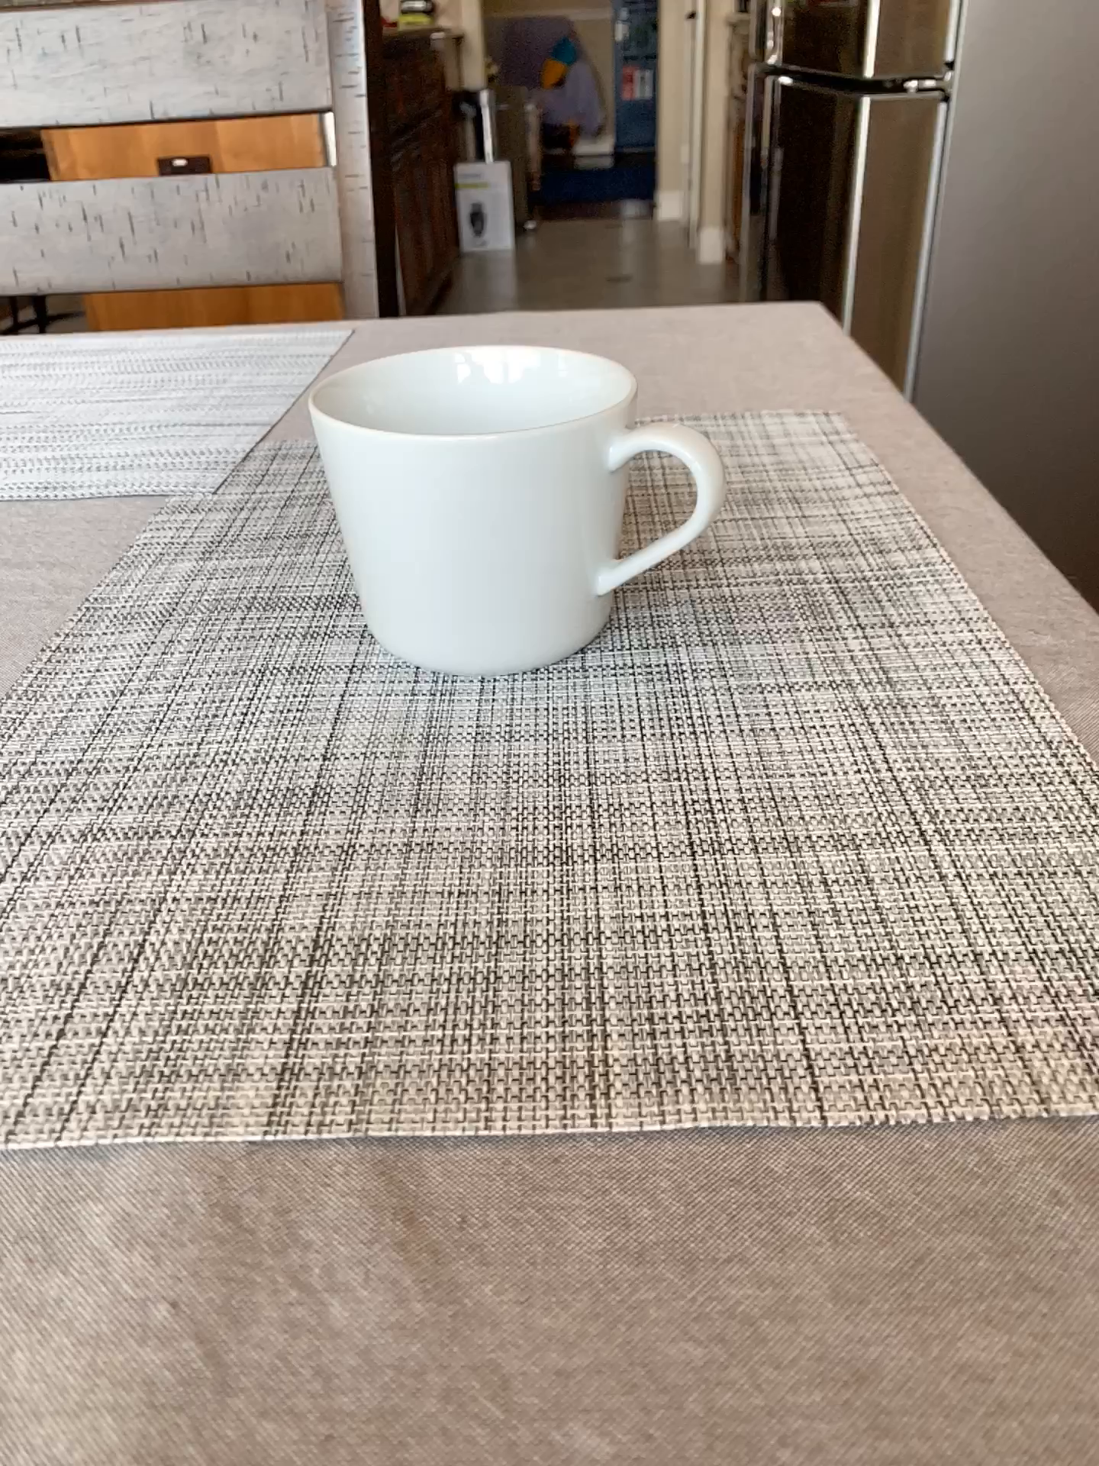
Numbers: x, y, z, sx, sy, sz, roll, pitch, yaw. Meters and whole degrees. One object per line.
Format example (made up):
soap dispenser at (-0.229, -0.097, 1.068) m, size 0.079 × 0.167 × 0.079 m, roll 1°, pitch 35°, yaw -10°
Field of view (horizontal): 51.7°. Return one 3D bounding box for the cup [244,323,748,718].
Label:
cup at (-0.011, -0.076, 0.367) m, size 0.121 × 0.081 × 0.100 m, roll 12°, pitch 35°, yaw 22°
